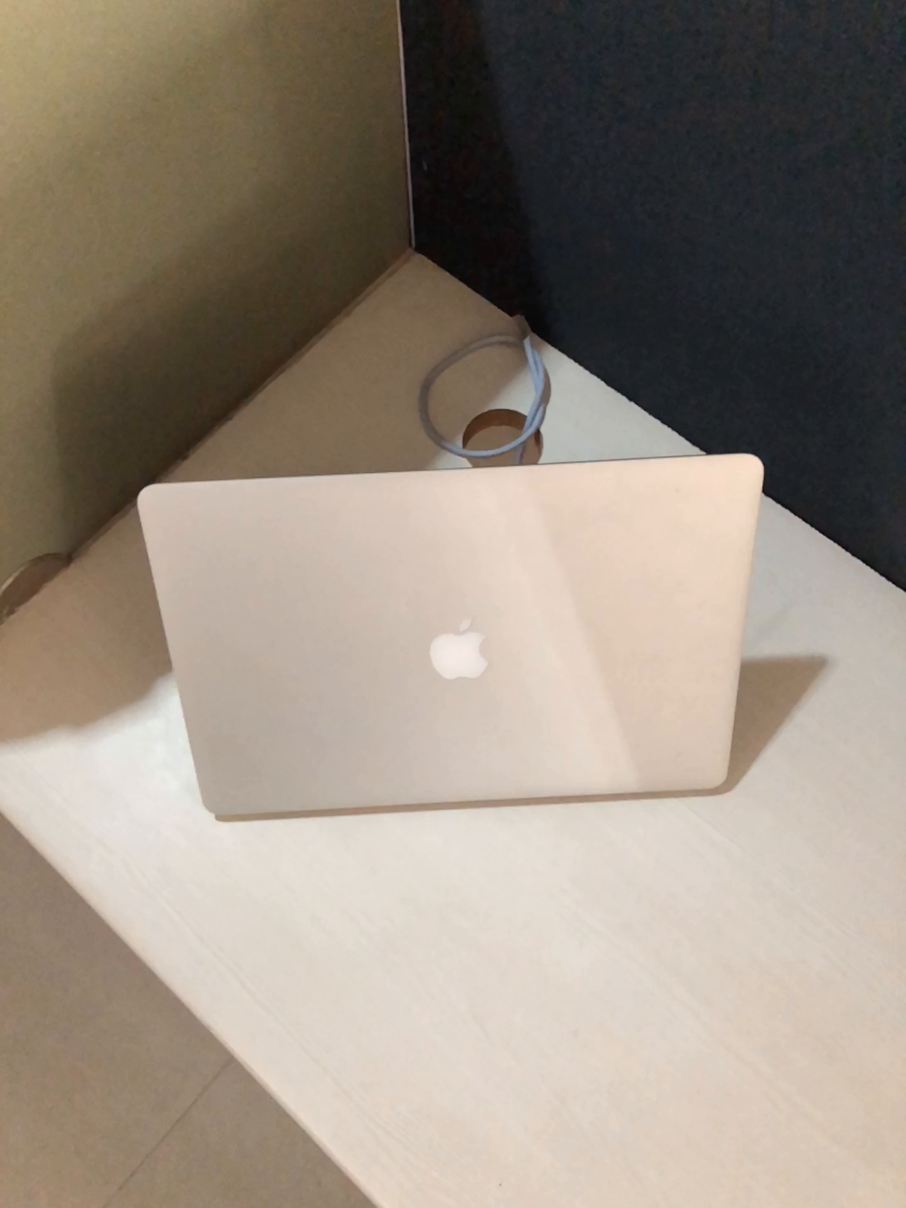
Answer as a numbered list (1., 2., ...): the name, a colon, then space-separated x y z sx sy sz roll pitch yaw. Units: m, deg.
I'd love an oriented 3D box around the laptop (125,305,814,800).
1. laptop: 0.004 -0.022 0.633 0.343 0.198 0.235 -3 67 -1
